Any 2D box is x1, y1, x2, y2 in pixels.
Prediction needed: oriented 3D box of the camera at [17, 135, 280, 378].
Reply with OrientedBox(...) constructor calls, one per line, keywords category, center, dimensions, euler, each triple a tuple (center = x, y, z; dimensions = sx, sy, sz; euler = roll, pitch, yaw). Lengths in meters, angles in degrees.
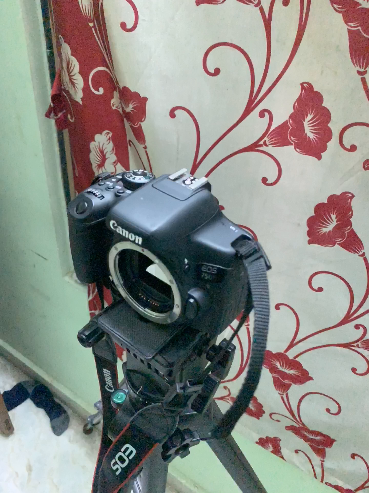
OrientedBox(category="camera", center=(-0.026, -0.004, 0.262), dimensions=(0.142, 0.088, 0.085), euler=(26, 42, 26))
